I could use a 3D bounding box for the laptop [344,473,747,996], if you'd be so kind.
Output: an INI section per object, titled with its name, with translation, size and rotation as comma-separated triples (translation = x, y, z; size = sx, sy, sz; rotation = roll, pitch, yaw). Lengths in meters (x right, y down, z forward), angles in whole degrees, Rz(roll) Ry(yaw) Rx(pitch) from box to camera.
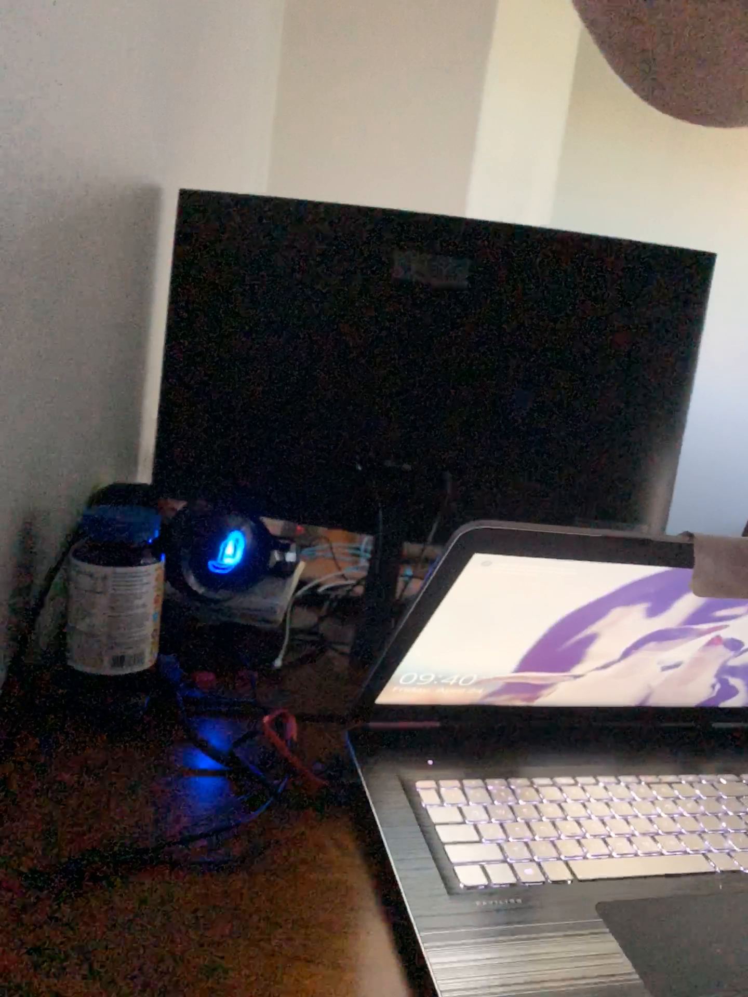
[laptop]
translation = 0.211, 0.126, 0.492
size = 0.393, 0.188, 0.258
rotation = 5, 14, -17
